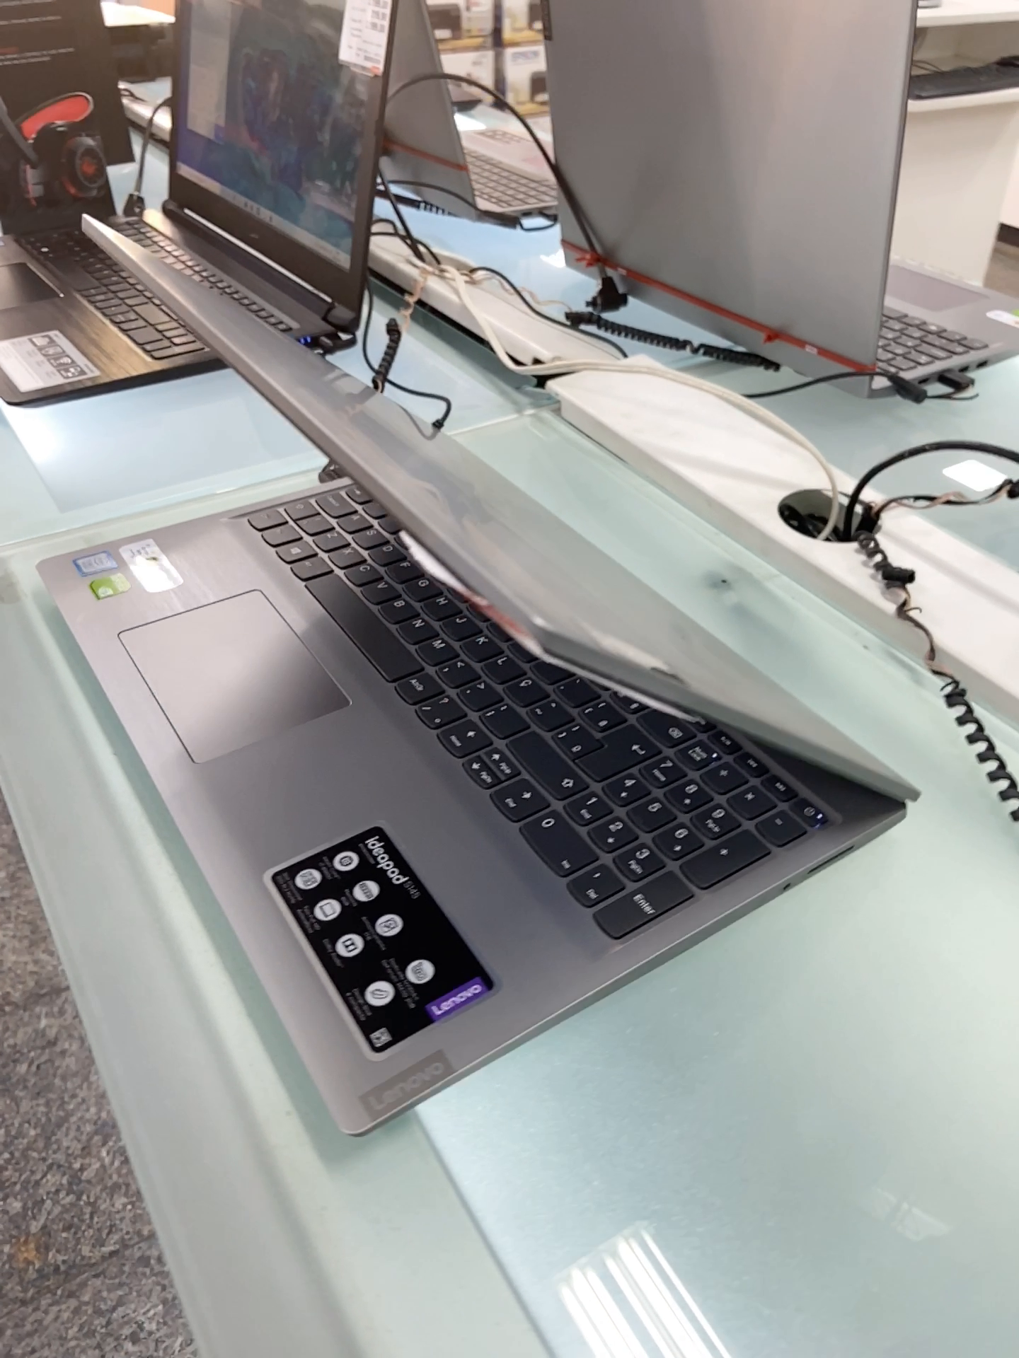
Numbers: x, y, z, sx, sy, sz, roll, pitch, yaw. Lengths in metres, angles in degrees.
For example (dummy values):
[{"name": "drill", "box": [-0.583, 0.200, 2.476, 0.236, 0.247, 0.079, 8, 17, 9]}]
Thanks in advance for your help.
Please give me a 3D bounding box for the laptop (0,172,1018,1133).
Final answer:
[{"name": "laptop", "box": [-0.045, -0.066, 0.429, 0.246, 0.160, 0.363, -22, 44, -26]}]
